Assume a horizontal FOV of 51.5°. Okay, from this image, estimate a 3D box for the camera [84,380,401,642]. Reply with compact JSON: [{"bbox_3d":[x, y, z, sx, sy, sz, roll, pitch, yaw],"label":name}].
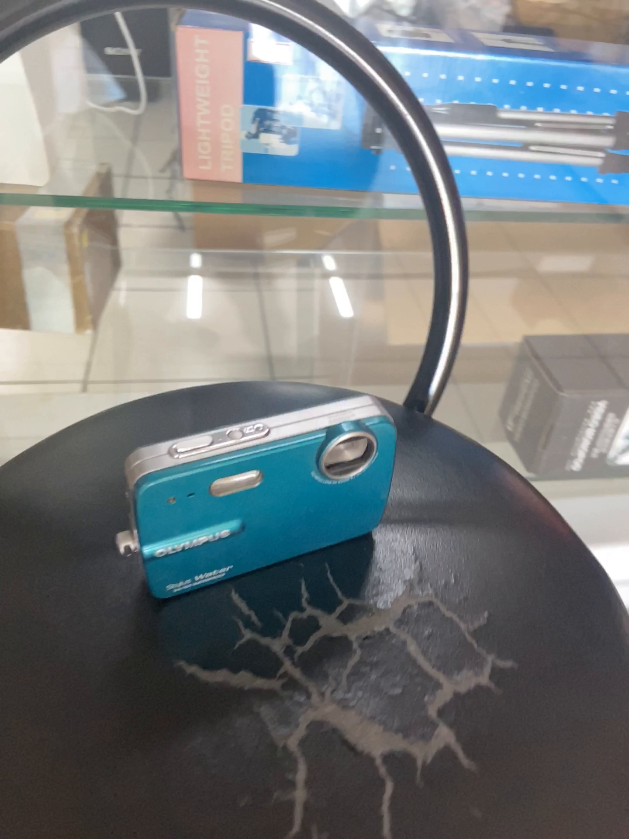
[{"bbox_3d":[-0.024,0.032,0.238,0.100,0.070,0.030,-13,42,-22],"label":"camera"}]
